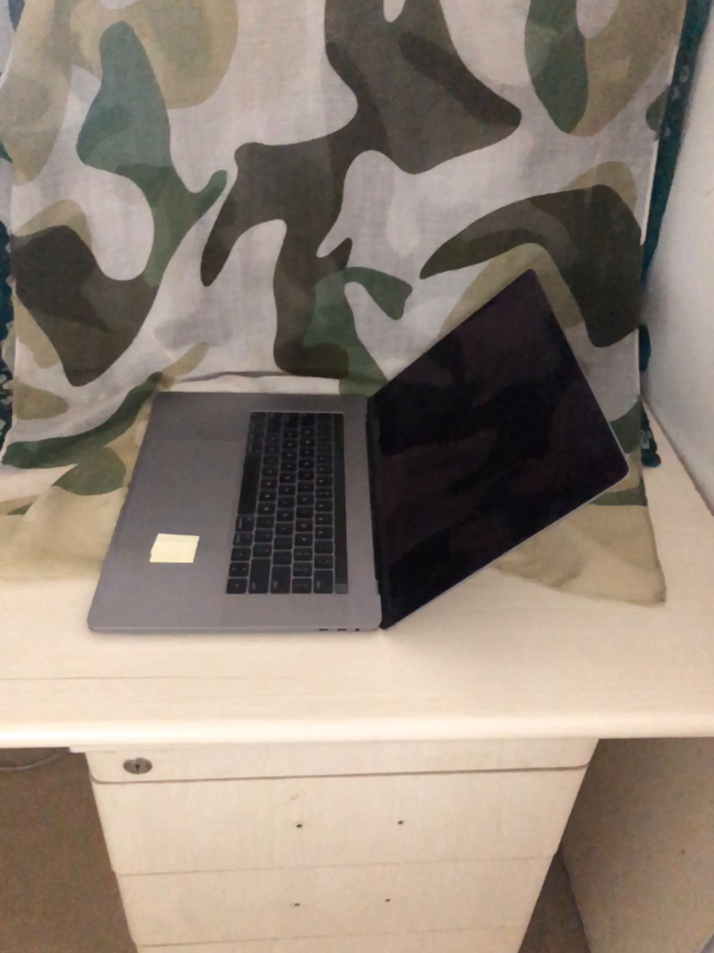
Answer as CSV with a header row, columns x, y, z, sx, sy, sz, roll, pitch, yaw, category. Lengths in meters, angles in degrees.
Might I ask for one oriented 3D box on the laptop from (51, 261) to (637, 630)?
x,y,z,sx,sy,sz,roll,pitch,yaw,category
-0.017,-0.048,0.726,0.402,0.165,0.343,1,37,-2,laptop
